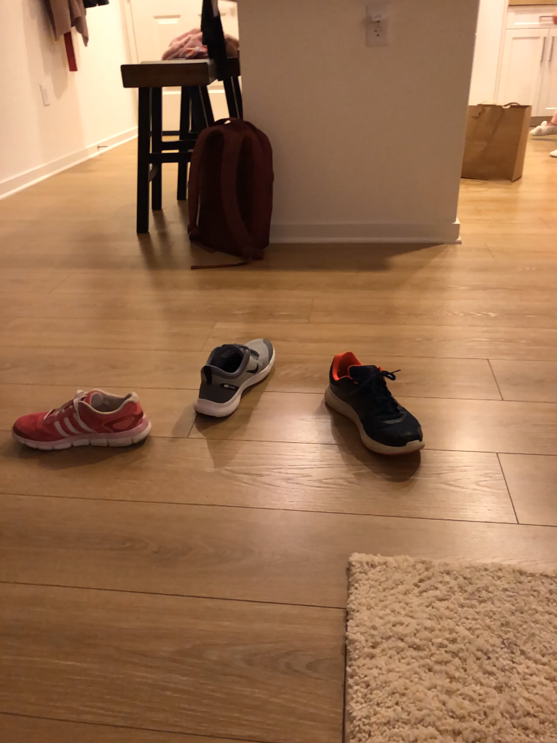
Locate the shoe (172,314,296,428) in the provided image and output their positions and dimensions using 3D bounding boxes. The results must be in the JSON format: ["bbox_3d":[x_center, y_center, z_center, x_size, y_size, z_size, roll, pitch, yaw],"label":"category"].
[{"bbox_3d":[-0.086,-0.013,1.364,0.130,0.099,0.322,11,31,23],"label":"shoe"}]

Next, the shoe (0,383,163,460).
[{"bbox_3d":[-0.389,0.097,1.223,0.280,0.099,0.121,0,28,5],"label":"shoe"}]

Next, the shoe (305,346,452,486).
[{"bbox_3d":[0.179,0.072,1.189,0.130,0.099,0.321,-13,30,-19],"label":"shoe"}]
